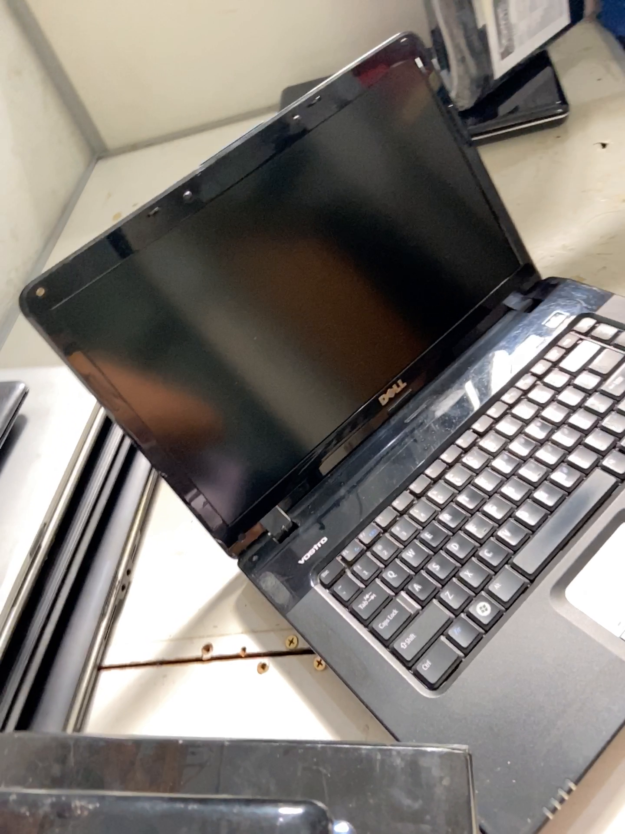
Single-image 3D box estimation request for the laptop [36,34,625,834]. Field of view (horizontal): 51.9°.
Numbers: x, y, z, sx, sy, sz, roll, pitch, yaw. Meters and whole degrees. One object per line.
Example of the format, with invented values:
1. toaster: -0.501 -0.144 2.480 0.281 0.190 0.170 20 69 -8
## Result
1. laptop: 0.092 -0.051 0.414 0.365 0.203 0.354 -41 46 -16
